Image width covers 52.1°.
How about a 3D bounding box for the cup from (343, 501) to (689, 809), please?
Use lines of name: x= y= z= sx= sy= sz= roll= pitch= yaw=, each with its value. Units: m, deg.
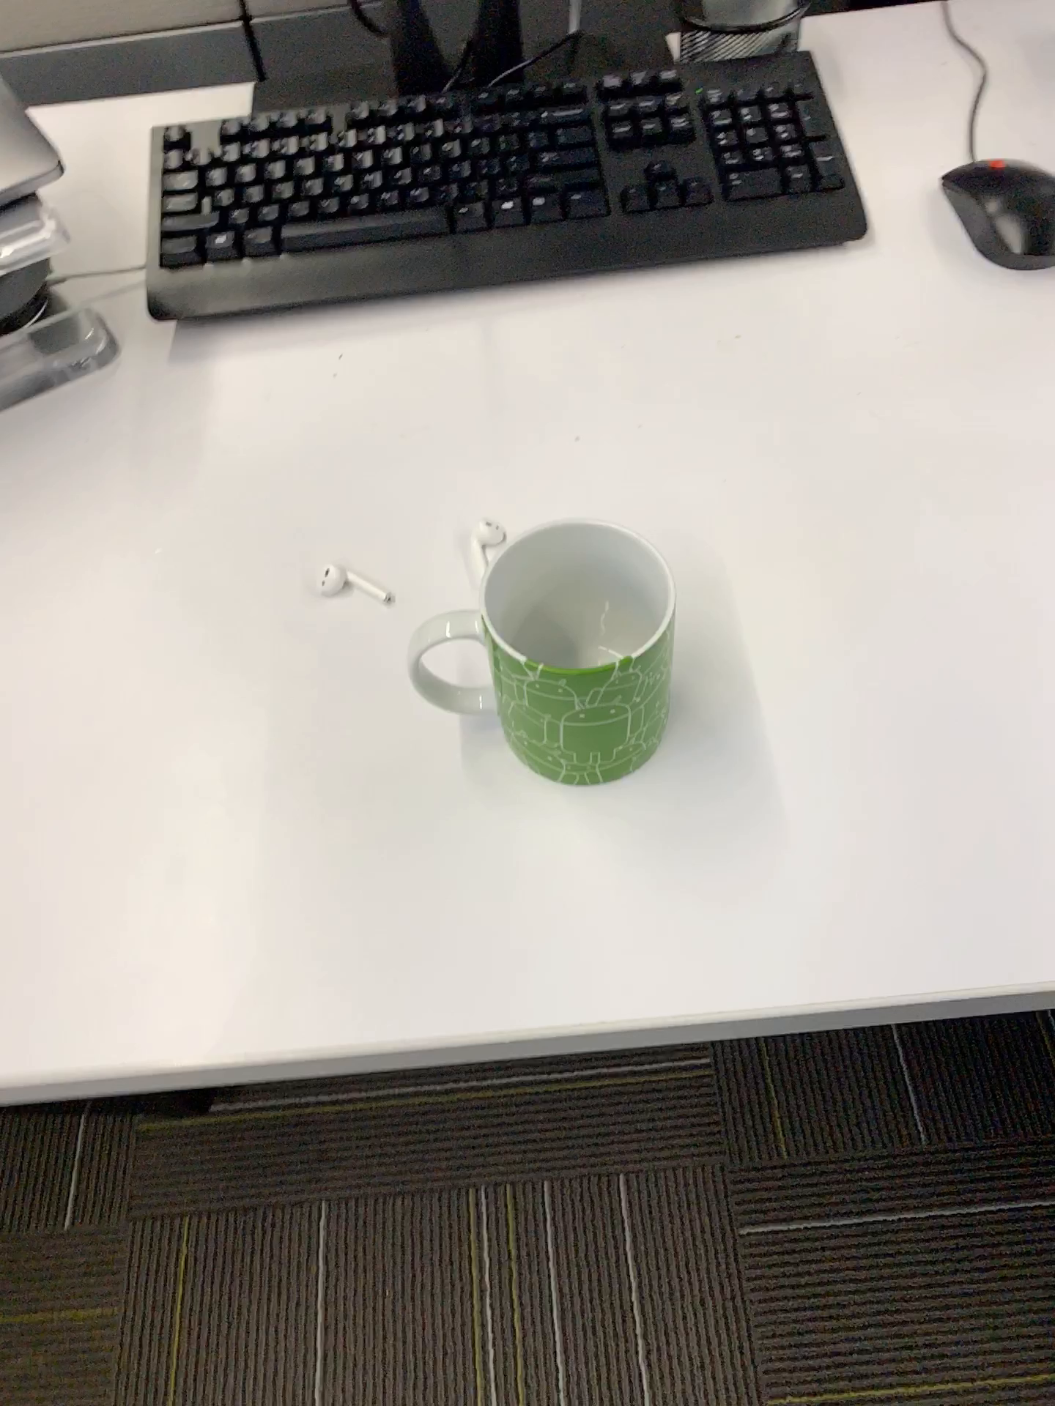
cup: x=-0.002 y=-0.018 z=0.465 sx=0.130 sy=0.090 sz=0.090 roll=-3 pitch=57 yaw=4
